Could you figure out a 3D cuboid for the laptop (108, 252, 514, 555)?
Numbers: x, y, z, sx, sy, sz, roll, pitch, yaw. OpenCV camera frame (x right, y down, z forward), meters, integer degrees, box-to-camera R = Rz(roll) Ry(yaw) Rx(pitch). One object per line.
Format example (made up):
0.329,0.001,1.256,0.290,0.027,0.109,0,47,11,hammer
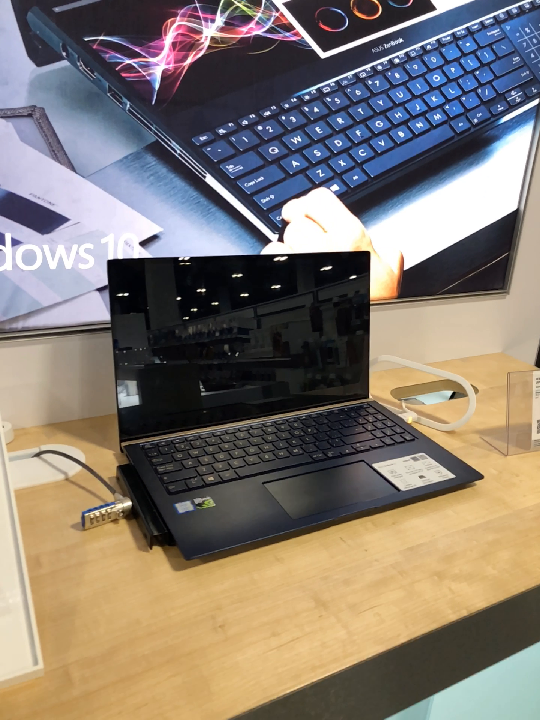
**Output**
0.026,0.010,0.638,0.336,0.196,0.250,-7,23,-26,laptop
